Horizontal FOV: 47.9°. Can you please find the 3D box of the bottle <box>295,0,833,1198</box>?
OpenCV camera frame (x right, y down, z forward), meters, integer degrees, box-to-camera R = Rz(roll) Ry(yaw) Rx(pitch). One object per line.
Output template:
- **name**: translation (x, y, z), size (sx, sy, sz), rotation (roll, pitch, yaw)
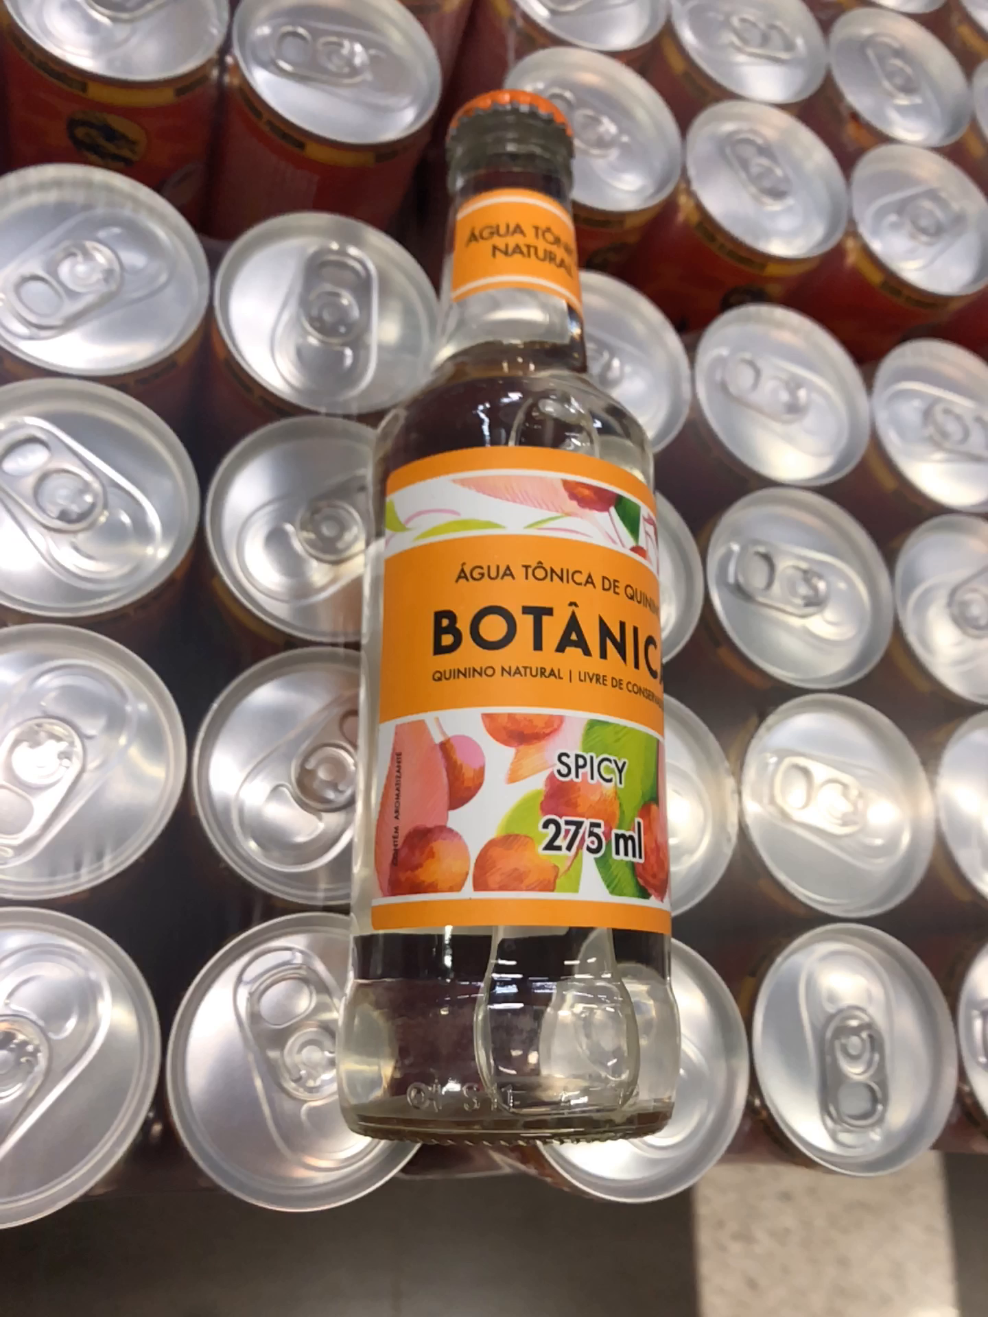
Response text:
- **bottle**: translation (0.011, -0.024, 0.201), size (0.070, 0.050, 0.210), rotation (7, 74, -18)
